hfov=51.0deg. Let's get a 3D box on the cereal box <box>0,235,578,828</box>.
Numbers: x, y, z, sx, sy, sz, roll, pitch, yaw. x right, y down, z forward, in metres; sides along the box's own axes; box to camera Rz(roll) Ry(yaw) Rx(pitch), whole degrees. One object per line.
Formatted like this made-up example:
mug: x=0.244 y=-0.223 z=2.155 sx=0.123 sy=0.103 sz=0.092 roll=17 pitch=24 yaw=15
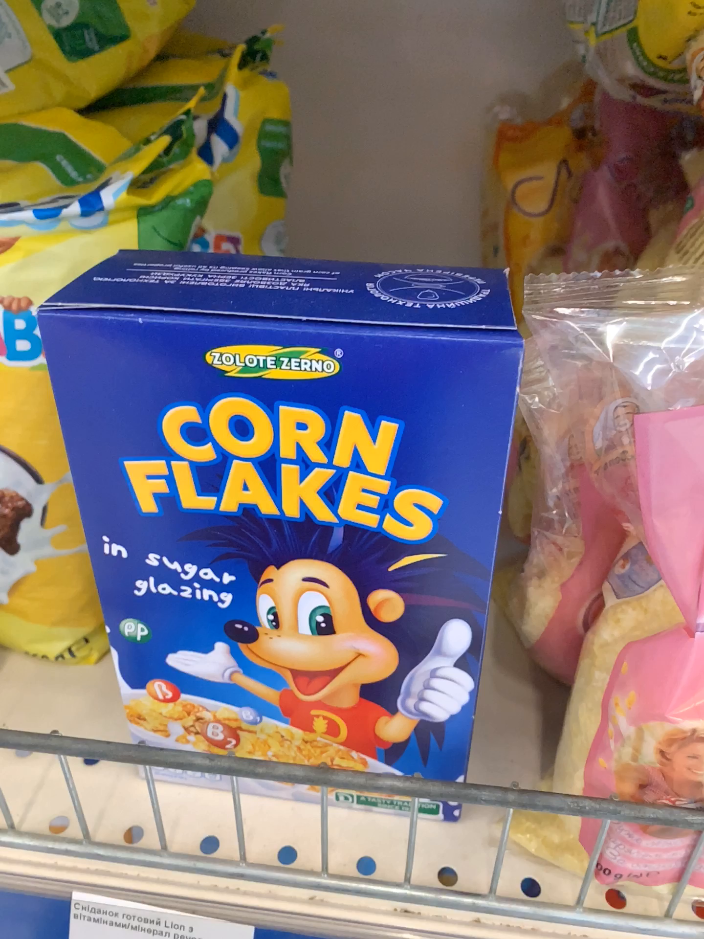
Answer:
cereal box: x=-0.018 y=0.023 z=0.211 sx=0.130 sy=0.159 sz=0.050 roll=5 pitch=33 yaw=7
